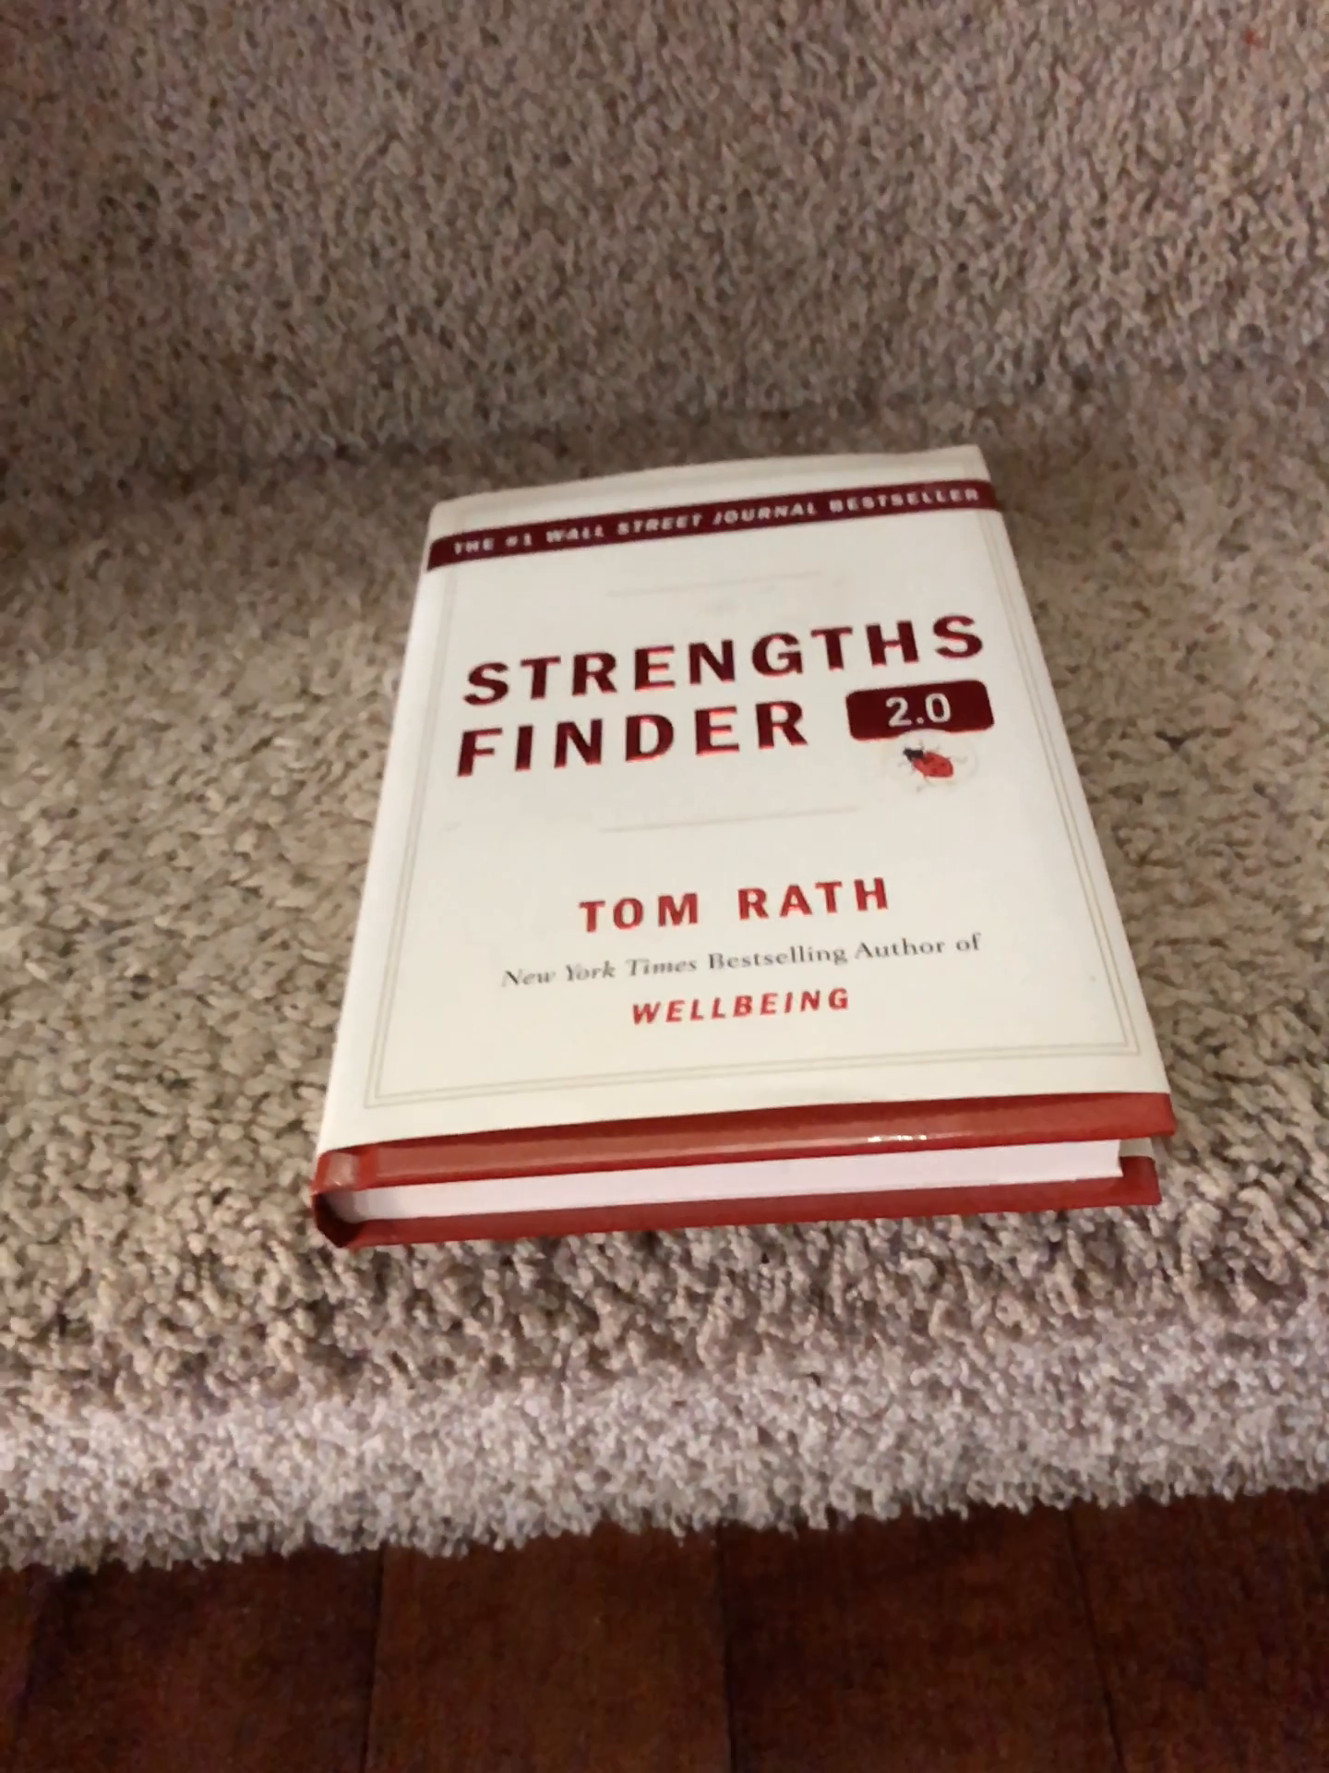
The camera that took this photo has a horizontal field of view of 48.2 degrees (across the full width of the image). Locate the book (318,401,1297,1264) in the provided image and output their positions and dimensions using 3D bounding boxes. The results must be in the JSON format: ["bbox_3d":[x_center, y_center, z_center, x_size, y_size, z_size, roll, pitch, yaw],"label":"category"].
[{"bbox_3d":[0.019,-0.025,0.283,0.136,0.029,0.191,-4,47,4],"label":"book"}]
